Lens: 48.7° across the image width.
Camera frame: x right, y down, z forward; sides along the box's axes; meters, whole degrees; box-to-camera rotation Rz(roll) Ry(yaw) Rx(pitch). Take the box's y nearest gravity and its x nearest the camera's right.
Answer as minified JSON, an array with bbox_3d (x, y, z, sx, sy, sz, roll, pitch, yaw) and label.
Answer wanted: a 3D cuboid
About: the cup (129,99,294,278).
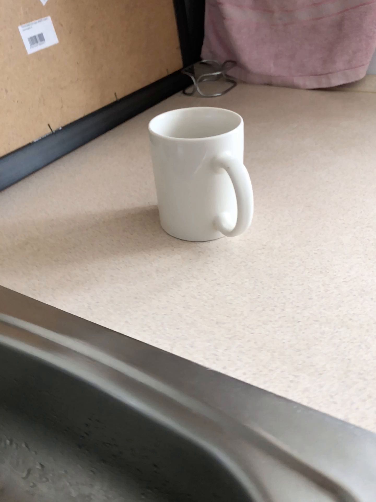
[{"bbox_3d":[0.017,-0.062,0.366,0.084,0.099,0.121,-20,39,-21],"label":"cup"}]
